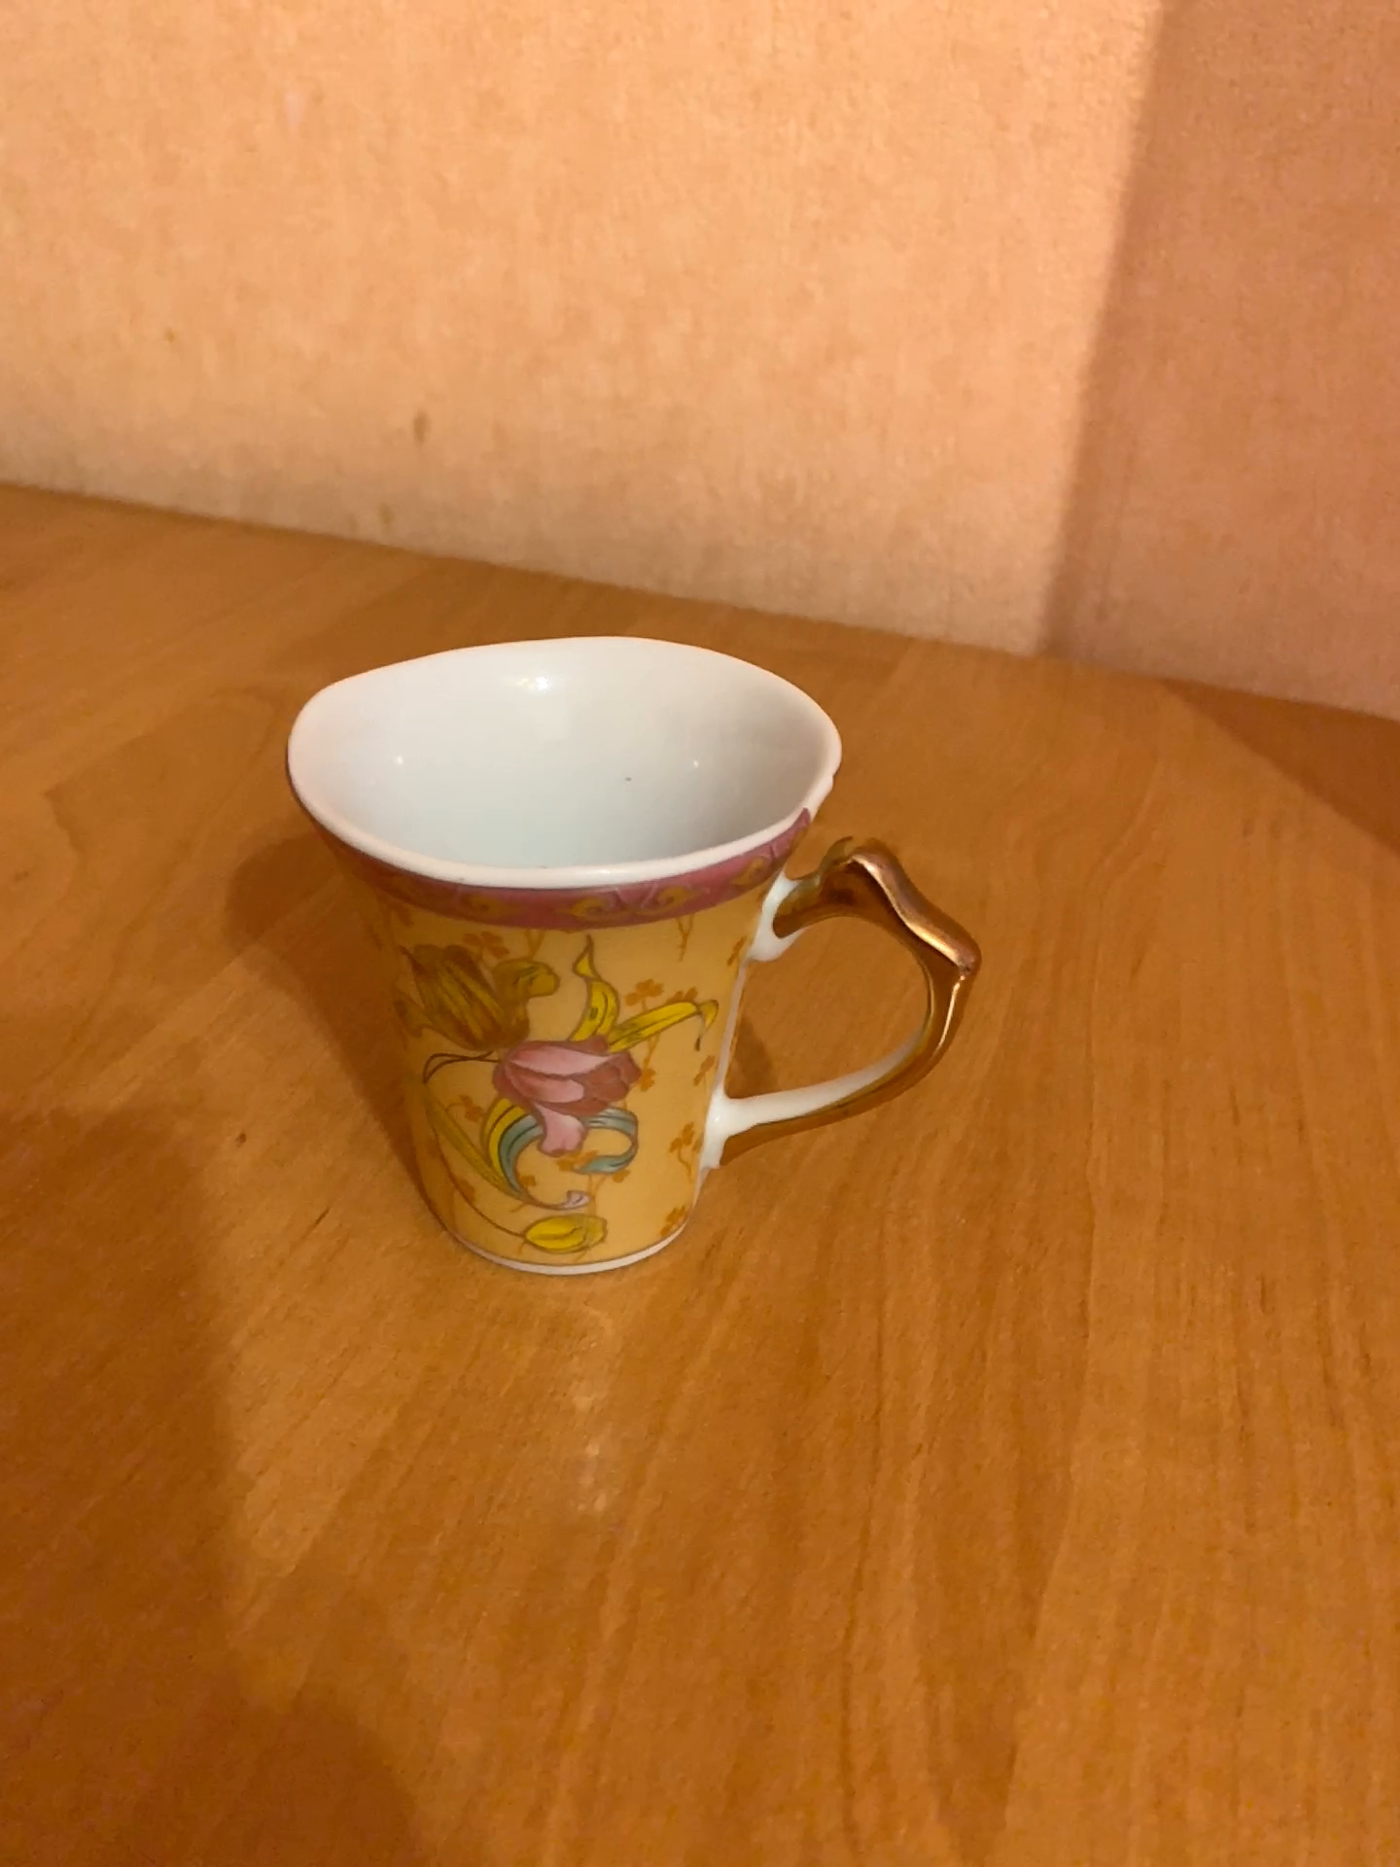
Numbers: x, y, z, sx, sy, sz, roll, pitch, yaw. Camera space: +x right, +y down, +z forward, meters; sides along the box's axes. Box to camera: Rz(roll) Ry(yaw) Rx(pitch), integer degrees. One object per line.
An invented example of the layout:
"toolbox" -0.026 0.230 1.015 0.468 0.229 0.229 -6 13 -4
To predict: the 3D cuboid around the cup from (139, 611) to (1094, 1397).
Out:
"cup" -0.006 0.004 0.188 0.094 0.061 0.072 6 31 5
